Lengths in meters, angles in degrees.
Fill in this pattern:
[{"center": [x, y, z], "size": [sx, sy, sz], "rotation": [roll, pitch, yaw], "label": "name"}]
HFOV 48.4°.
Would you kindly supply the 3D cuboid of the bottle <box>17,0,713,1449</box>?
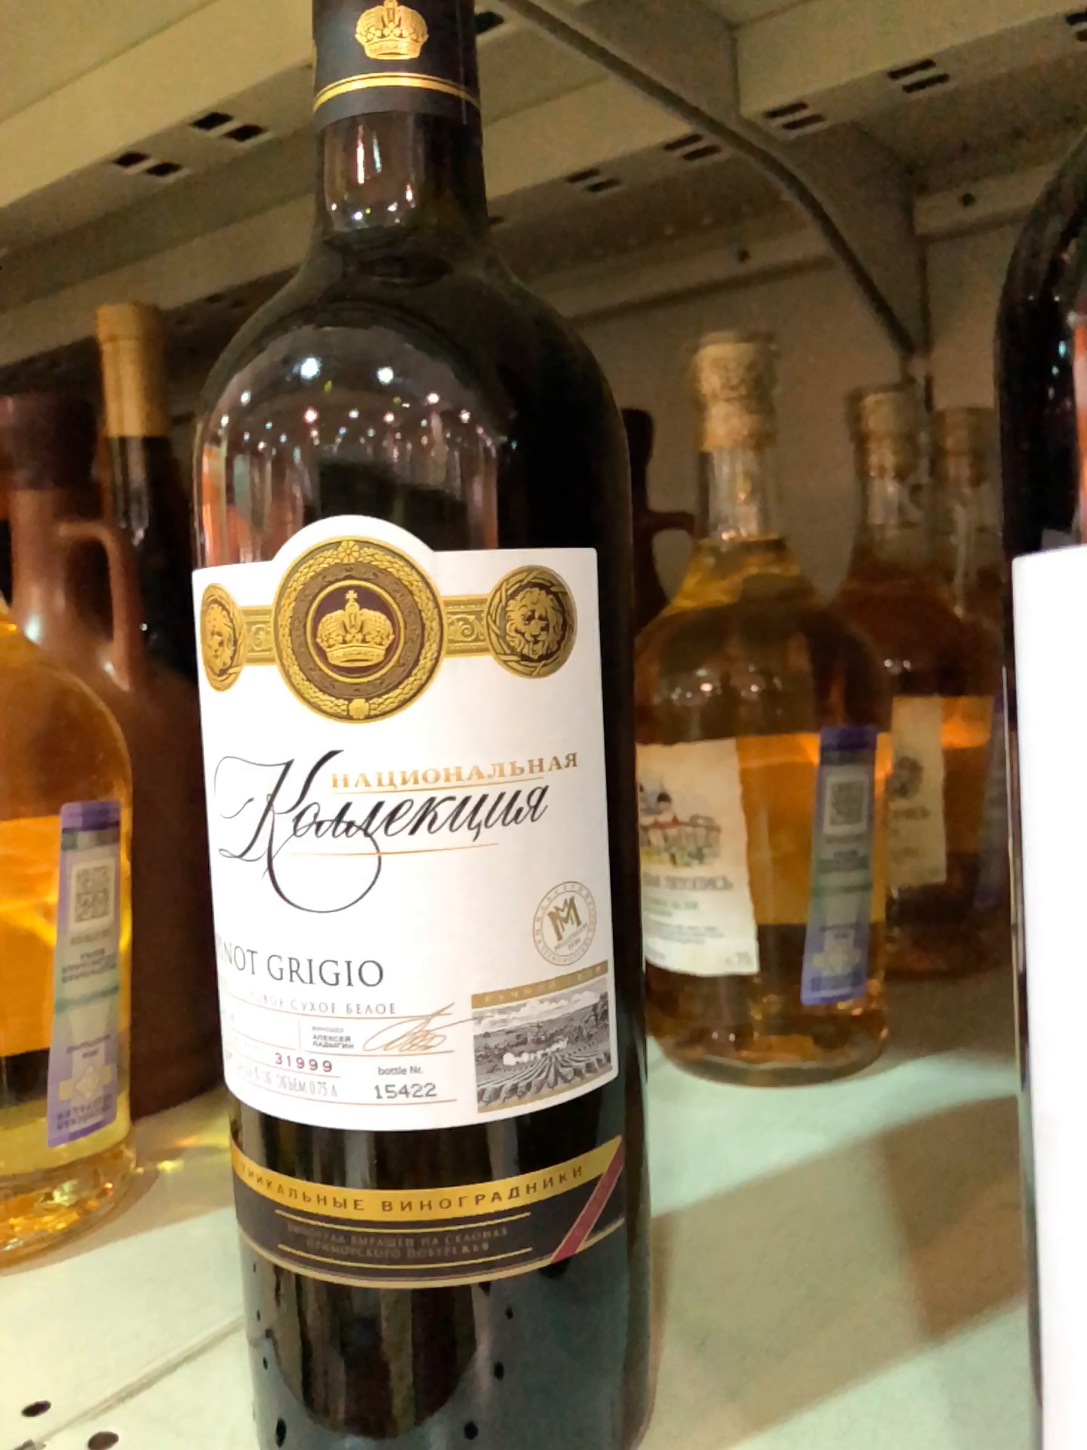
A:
[{"center": [-0.023, -0.025, 0.237], "size": [0.090, 0.320, 0.090], "rotation": [-3, 3, 0], "label": "bottle"}]
